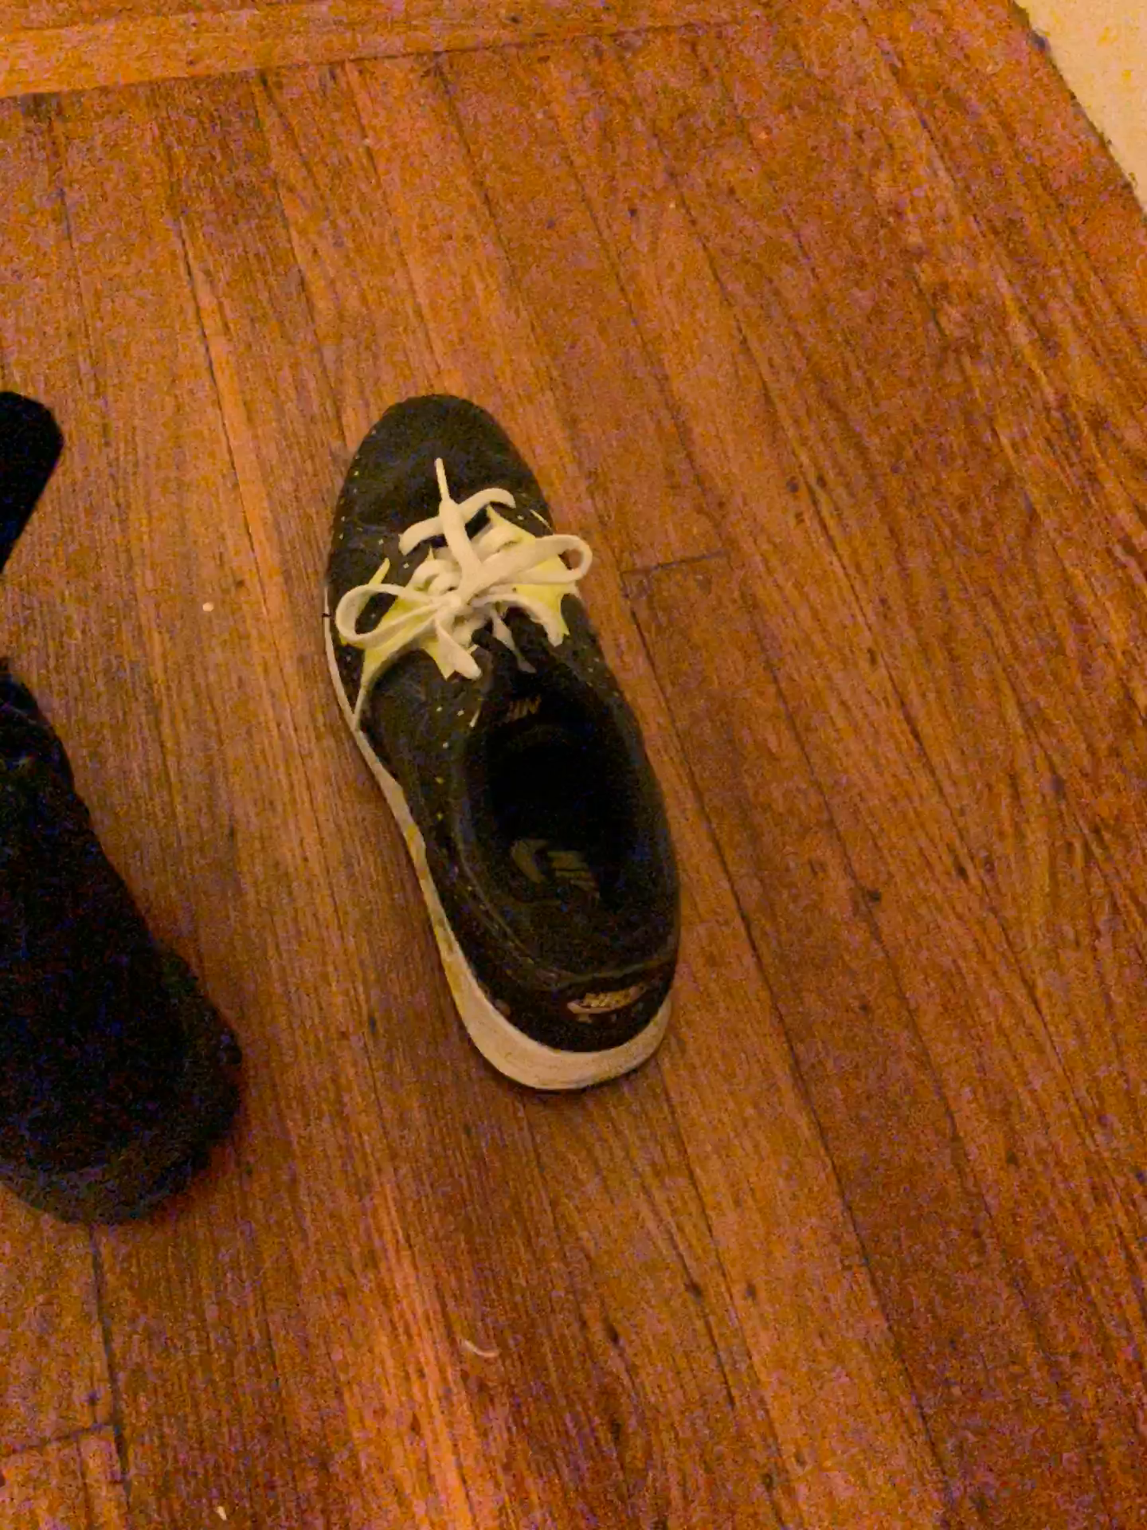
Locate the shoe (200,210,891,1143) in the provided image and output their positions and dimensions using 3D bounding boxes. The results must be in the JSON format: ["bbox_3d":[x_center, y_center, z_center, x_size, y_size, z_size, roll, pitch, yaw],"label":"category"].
[{"bbox_3d":[-0.024,-0.038,0.413,0.120,0.100,0.290,-17,70,-14],"label":"shoe"}]

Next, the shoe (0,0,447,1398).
[{"bbox_3d":[-0.200,-0.008,0.364,0.160,0.240,0.310,-37,75,-20],"label":"shoe"}]
